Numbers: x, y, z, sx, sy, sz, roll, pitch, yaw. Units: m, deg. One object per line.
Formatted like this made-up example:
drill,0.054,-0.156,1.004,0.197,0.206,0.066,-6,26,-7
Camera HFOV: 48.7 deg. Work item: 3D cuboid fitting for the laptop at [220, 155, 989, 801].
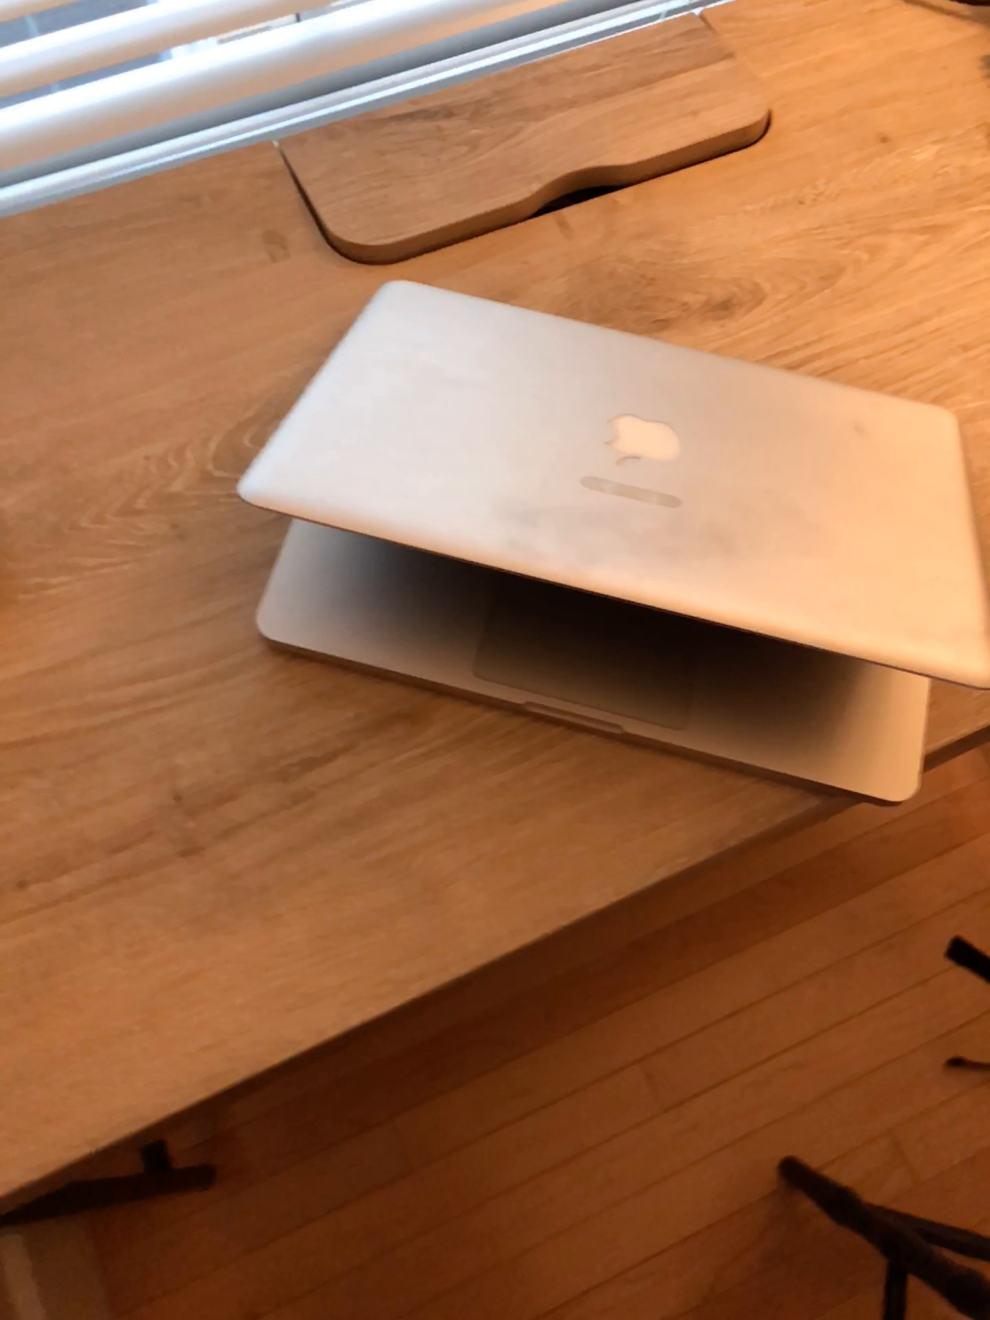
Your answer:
laptop,0.066,-0.093,0.527,0.318,0.090,0.229,14,66,5
